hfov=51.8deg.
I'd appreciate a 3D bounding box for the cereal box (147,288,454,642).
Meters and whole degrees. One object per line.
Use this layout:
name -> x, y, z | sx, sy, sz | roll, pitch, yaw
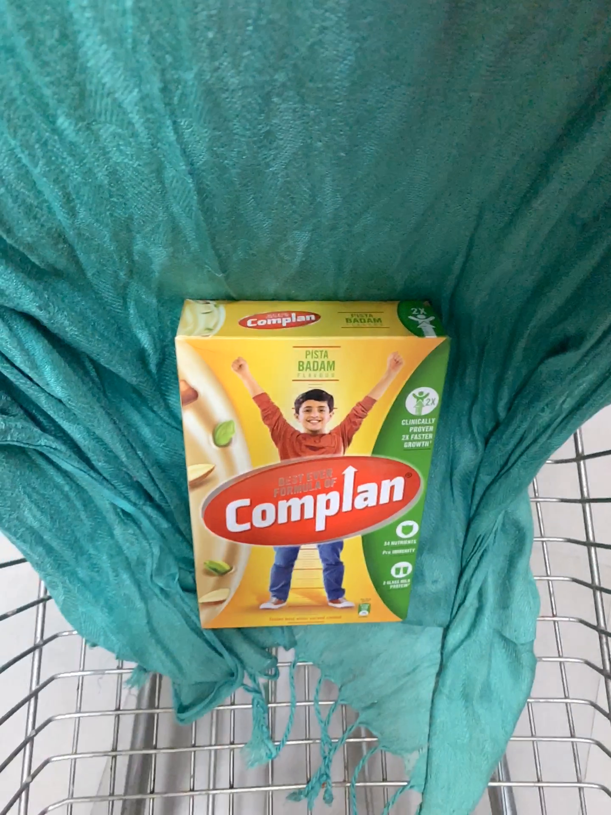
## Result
cereal box -> -0.003, 0.039, 0.363 | 0.140, 0.060, 0.200 | -2, 120, -3
